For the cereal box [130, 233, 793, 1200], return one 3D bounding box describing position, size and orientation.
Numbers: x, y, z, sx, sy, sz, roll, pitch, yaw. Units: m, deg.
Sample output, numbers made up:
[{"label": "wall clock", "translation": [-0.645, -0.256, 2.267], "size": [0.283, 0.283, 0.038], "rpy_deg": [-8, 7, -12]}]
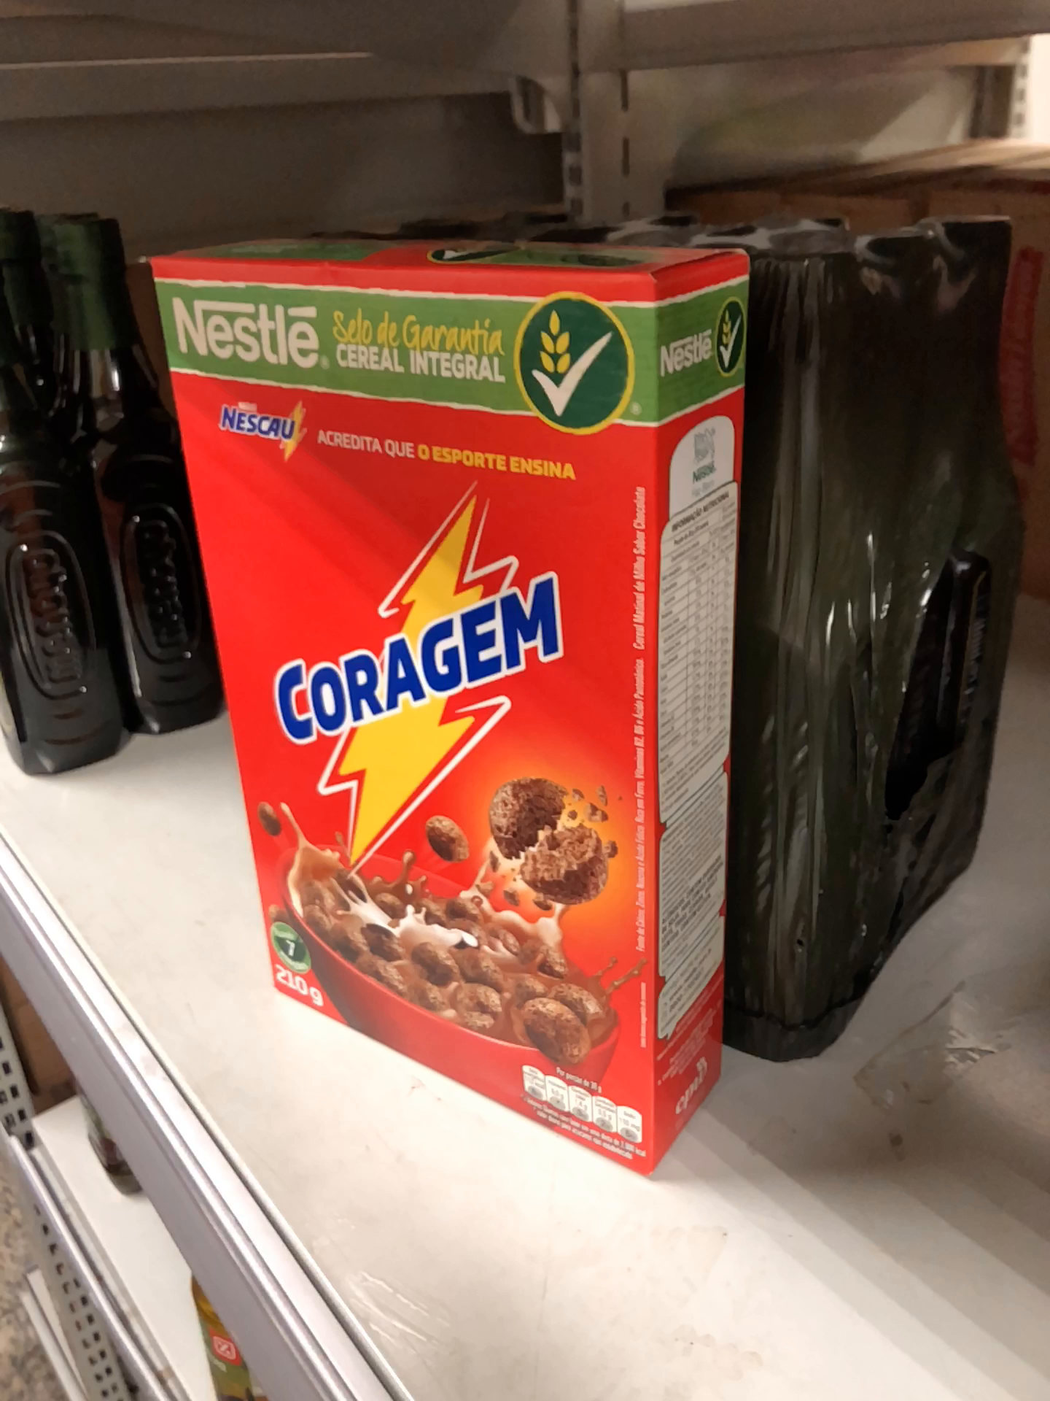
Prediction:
[{"label": "cereal box", "translation": [-0.018, -0.003, 0.347], "size": [0.170, 0.248, 0.060], "rpy_deg": [15, 30, 35]}]
